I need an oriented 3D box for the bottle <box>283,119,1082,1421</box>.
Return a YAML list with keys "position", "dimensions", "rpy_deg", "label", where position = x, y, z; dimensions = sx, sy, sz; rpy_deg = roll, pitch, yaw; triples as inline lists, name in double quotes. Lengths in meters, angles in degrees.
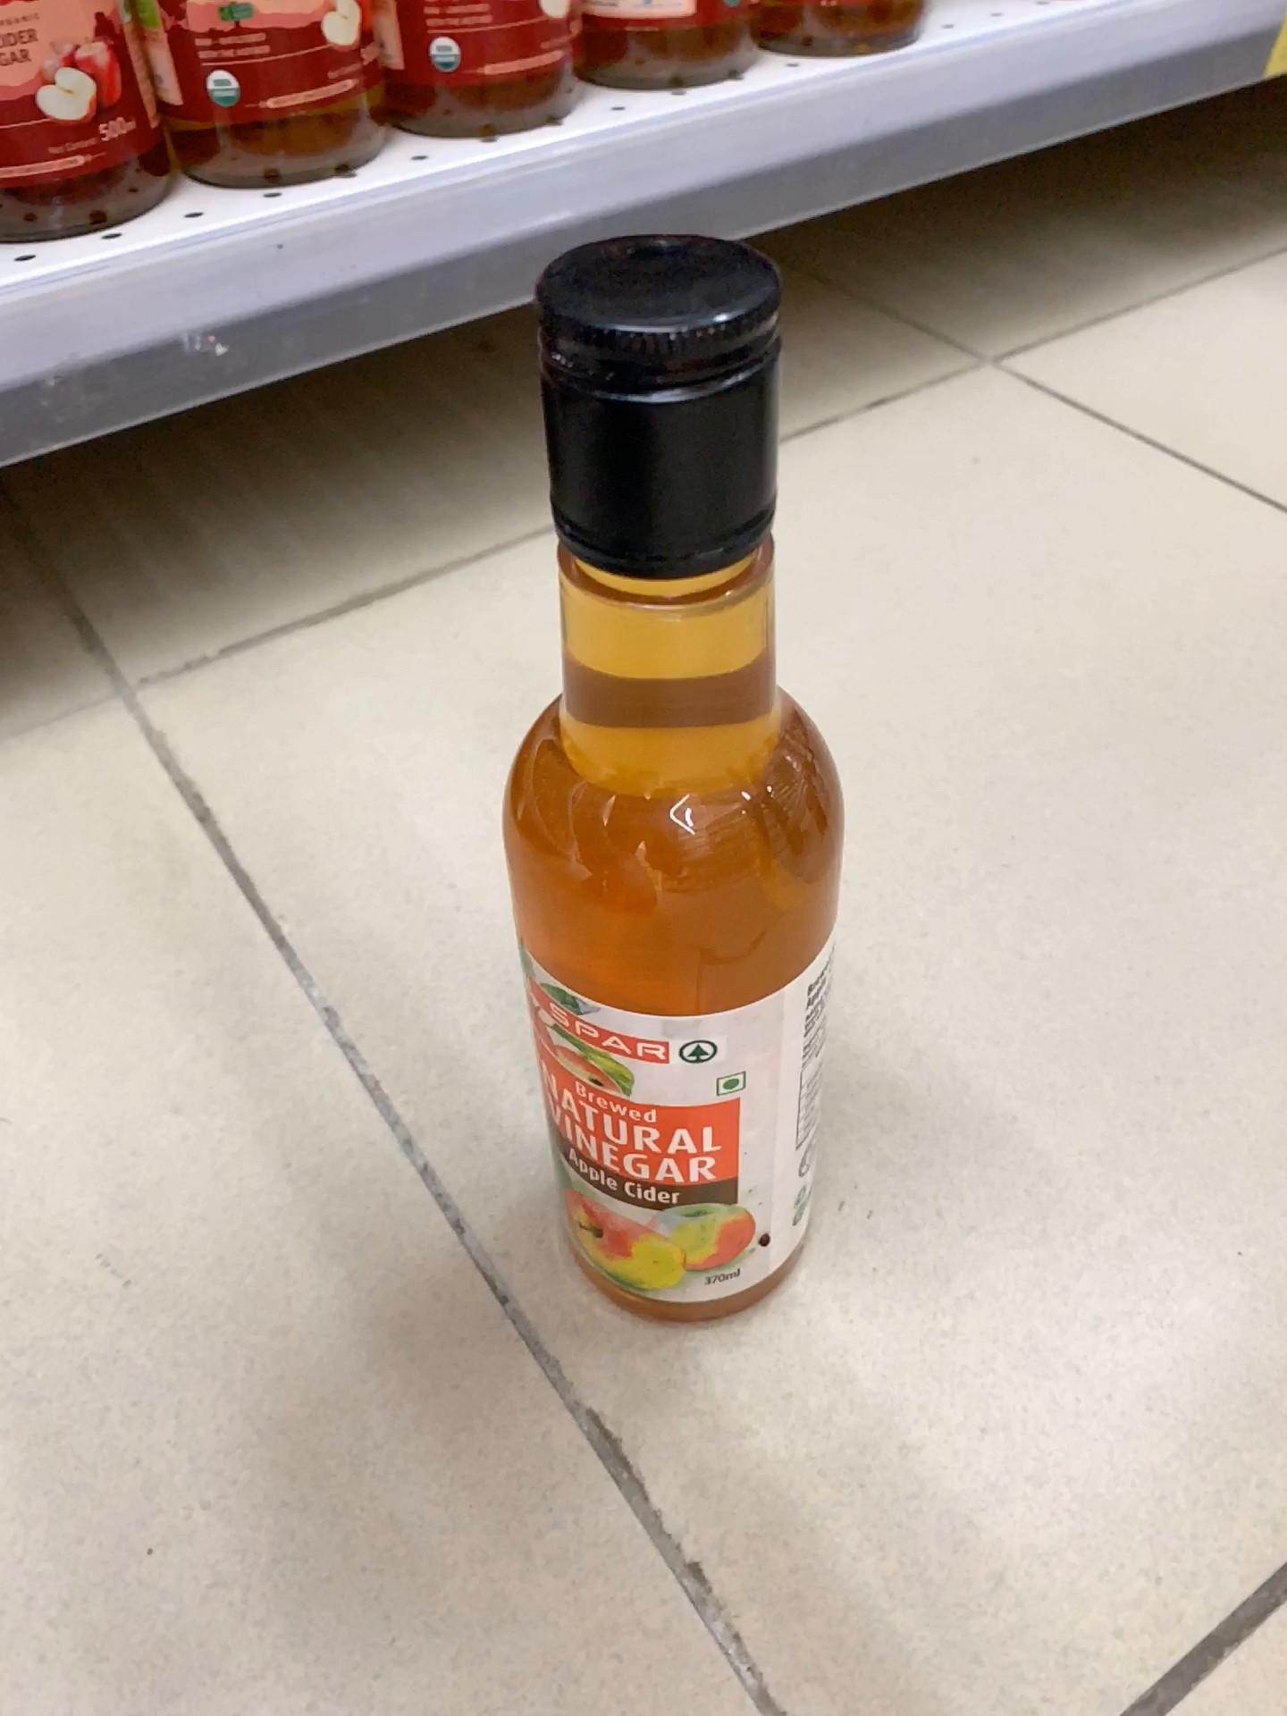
- position: [0.010, 0.007, 0.229]
  dimensions: [0.070, 0.219, 0.060]
  rpy_deg: [23, 50, 25]
  label: "bottle"
